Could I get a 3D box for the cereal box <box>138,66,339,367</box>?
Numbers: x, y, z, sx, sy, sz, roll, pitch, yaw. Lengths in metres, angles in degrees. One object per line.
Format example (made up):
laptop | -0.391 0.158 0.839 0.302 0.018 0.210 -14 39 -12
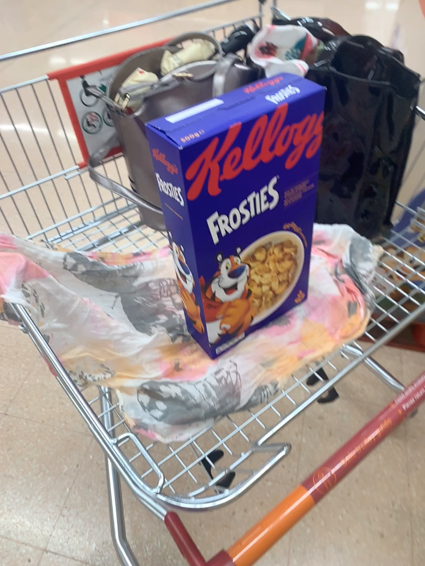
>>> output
cereal box | 0.045 -0.073 0.575 0.211 0.337 0.080 -29 46 -24
